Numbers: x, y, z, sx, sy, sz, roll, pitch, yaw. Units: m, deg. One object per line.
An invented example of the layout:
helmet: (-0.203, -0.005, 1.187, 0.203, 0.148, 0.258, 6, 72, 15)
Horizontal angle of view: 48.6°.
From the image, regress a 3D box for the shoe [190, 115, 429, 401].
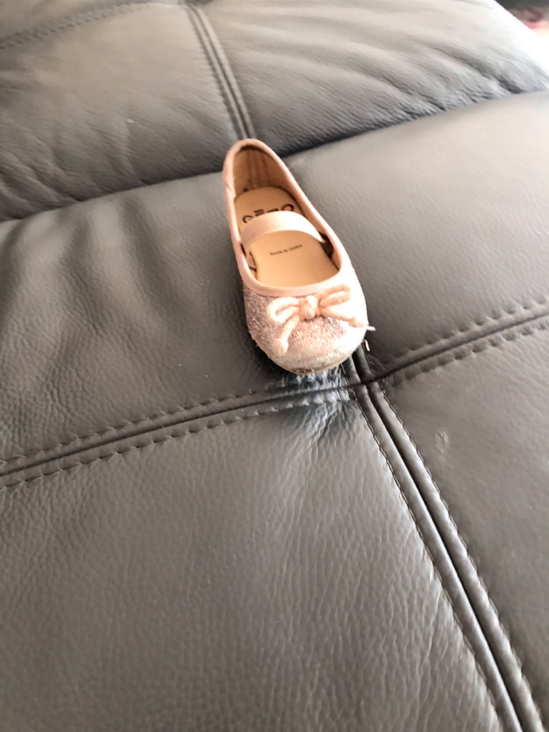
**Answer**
shoe: (0.011, -0.066, 0.323, 0.070, 0.040, 0.161, -16, 54, -8)
